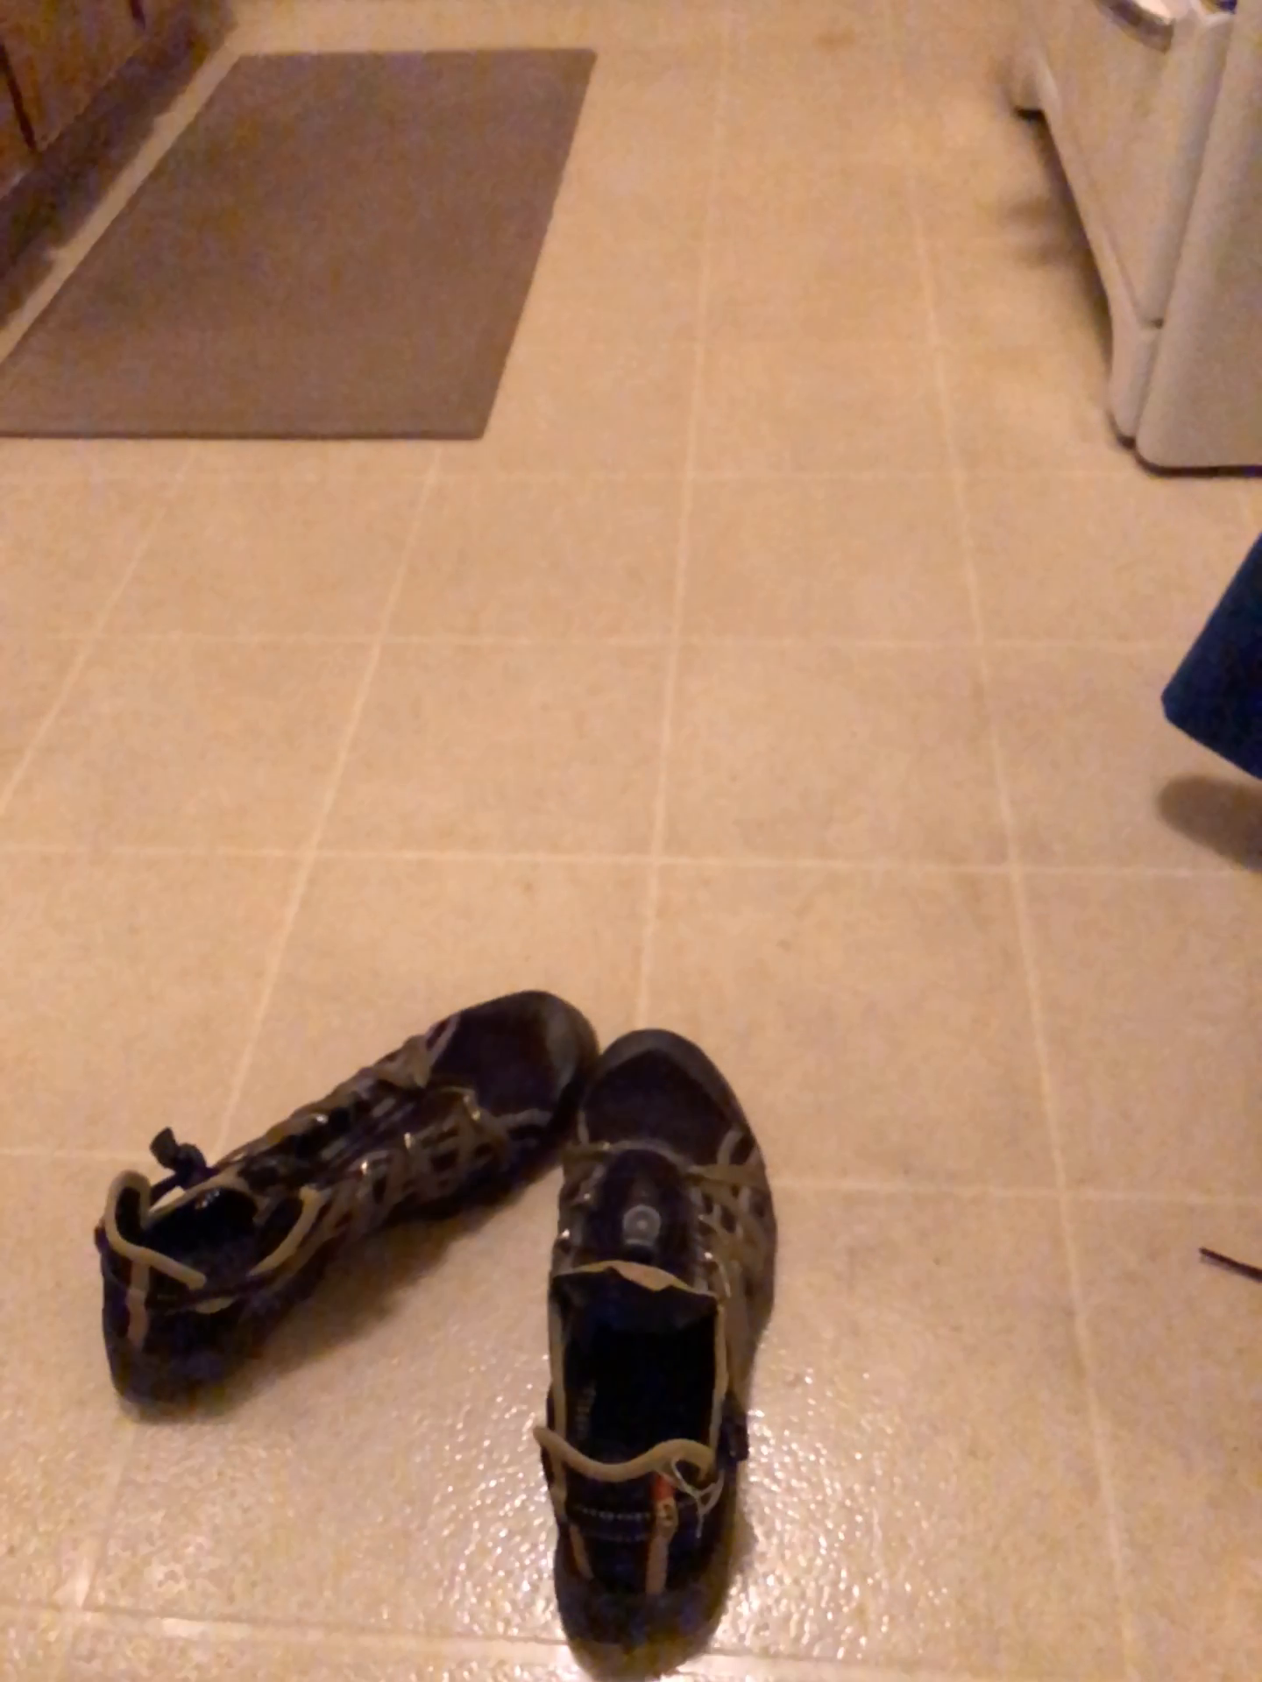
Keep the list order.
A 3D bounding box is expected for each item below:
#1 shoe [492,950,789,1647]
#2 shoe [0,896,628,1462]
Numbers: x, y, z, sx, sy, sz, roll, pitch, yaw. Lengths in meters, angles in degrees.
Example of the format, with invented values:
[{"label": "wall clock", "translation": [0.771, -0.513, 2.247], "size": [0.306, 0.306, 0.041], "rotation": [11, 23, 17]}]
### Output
[{"label": "shoe", "translation": [0.010, 0.199, 0.652], "size": [0.109, 0.111, 0.287], "rotation": [-1, 47, 3]}, {"label": "shoe", "translation": [-0.145, 0.160, 0.698], "size": [0.279, 0.109, 0.100], "rotation": [-31, 52, -23]}]
